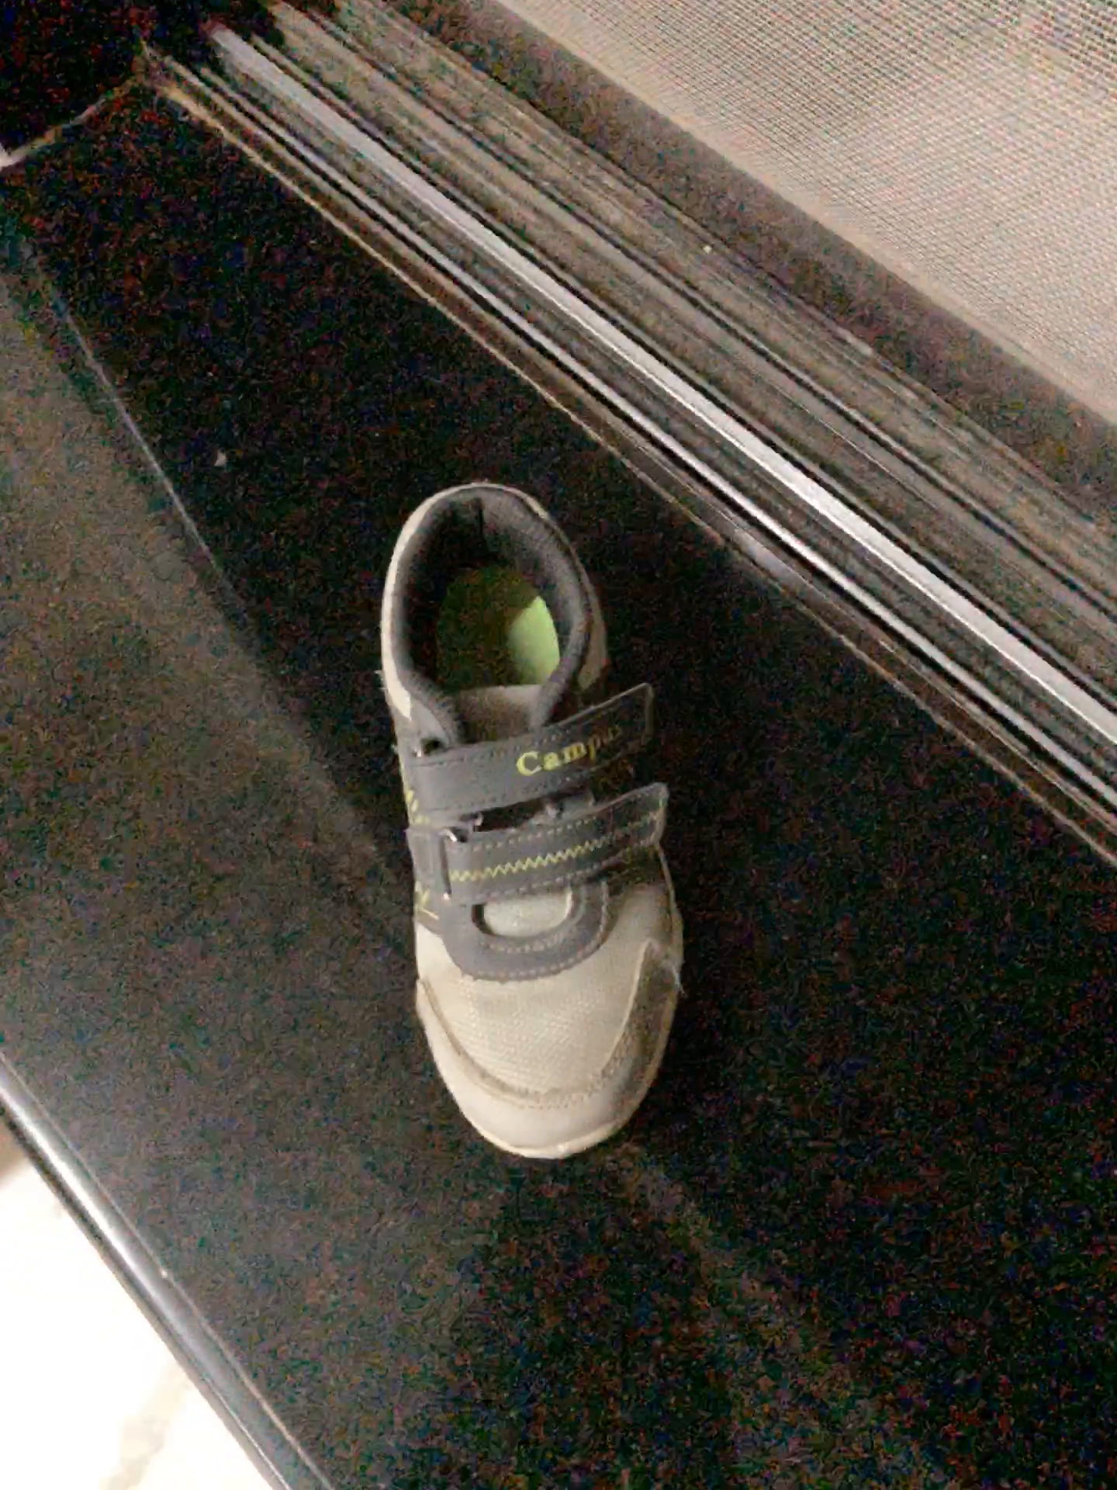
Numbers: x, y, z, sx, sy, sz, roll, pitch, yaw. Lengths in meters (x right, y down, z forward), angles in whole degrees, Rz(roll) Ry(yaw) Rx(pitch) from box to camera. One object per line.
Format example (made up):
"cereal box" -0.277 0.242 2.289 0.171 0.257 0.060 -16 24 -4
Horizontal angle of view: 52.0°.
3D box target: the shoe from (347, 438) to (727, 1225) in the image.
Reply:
"shoe" -0.012 0.025 0.371 0.090 0.080 0.231 -6 68 0
